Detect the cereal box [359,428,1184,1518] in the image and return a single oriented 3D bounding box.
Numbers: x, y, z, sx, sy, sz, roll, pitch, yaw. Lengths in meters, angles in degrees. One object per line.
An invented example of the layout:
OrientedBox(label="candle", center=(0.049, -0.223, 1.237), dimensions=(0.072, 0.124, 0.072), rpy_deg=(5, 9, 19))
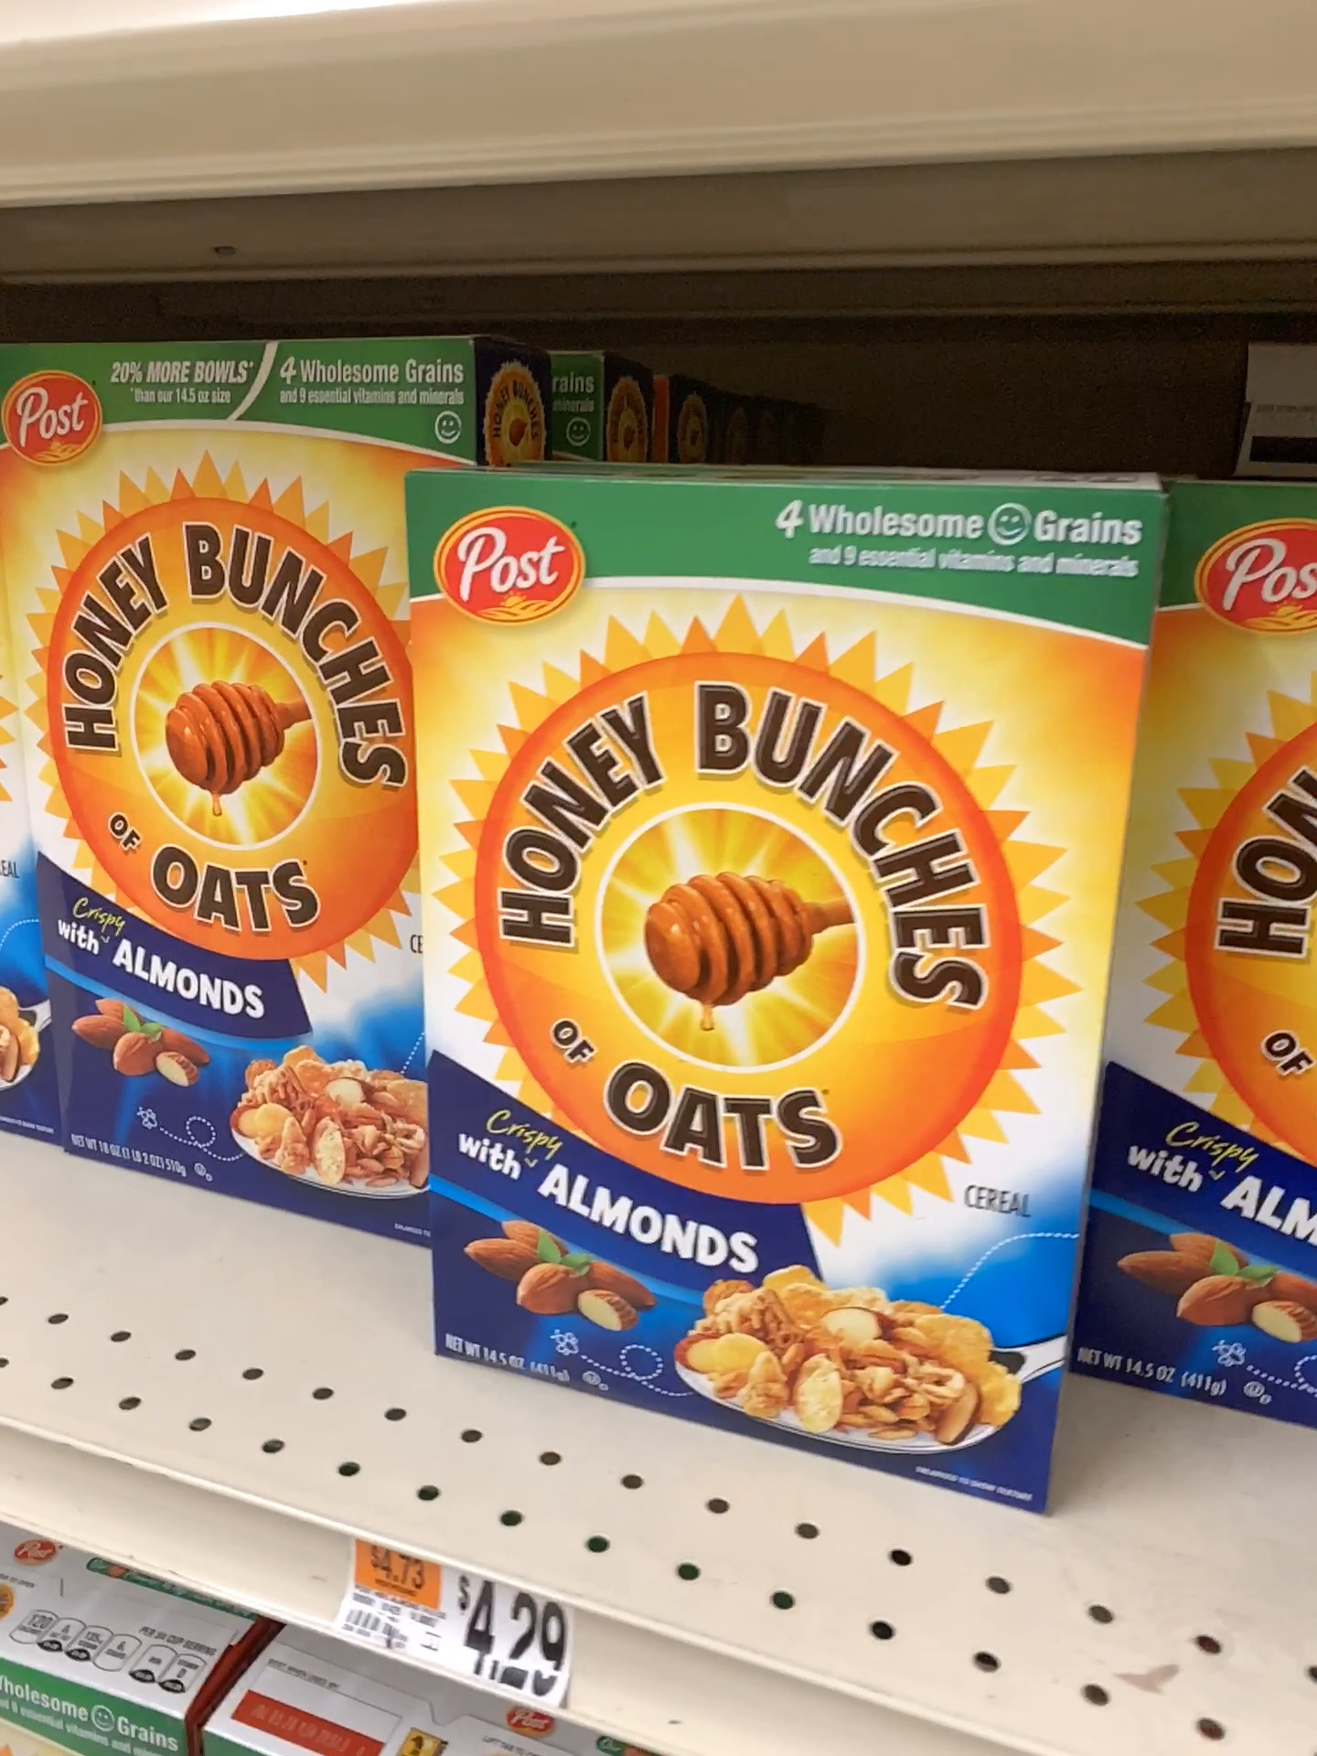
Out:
OrientedBox(label="cereal box", center=(0.025, 0.020, 0.385), dimensions=(0.200, 0.279, 0.060), rpy_deg=(7, 19, 20))
